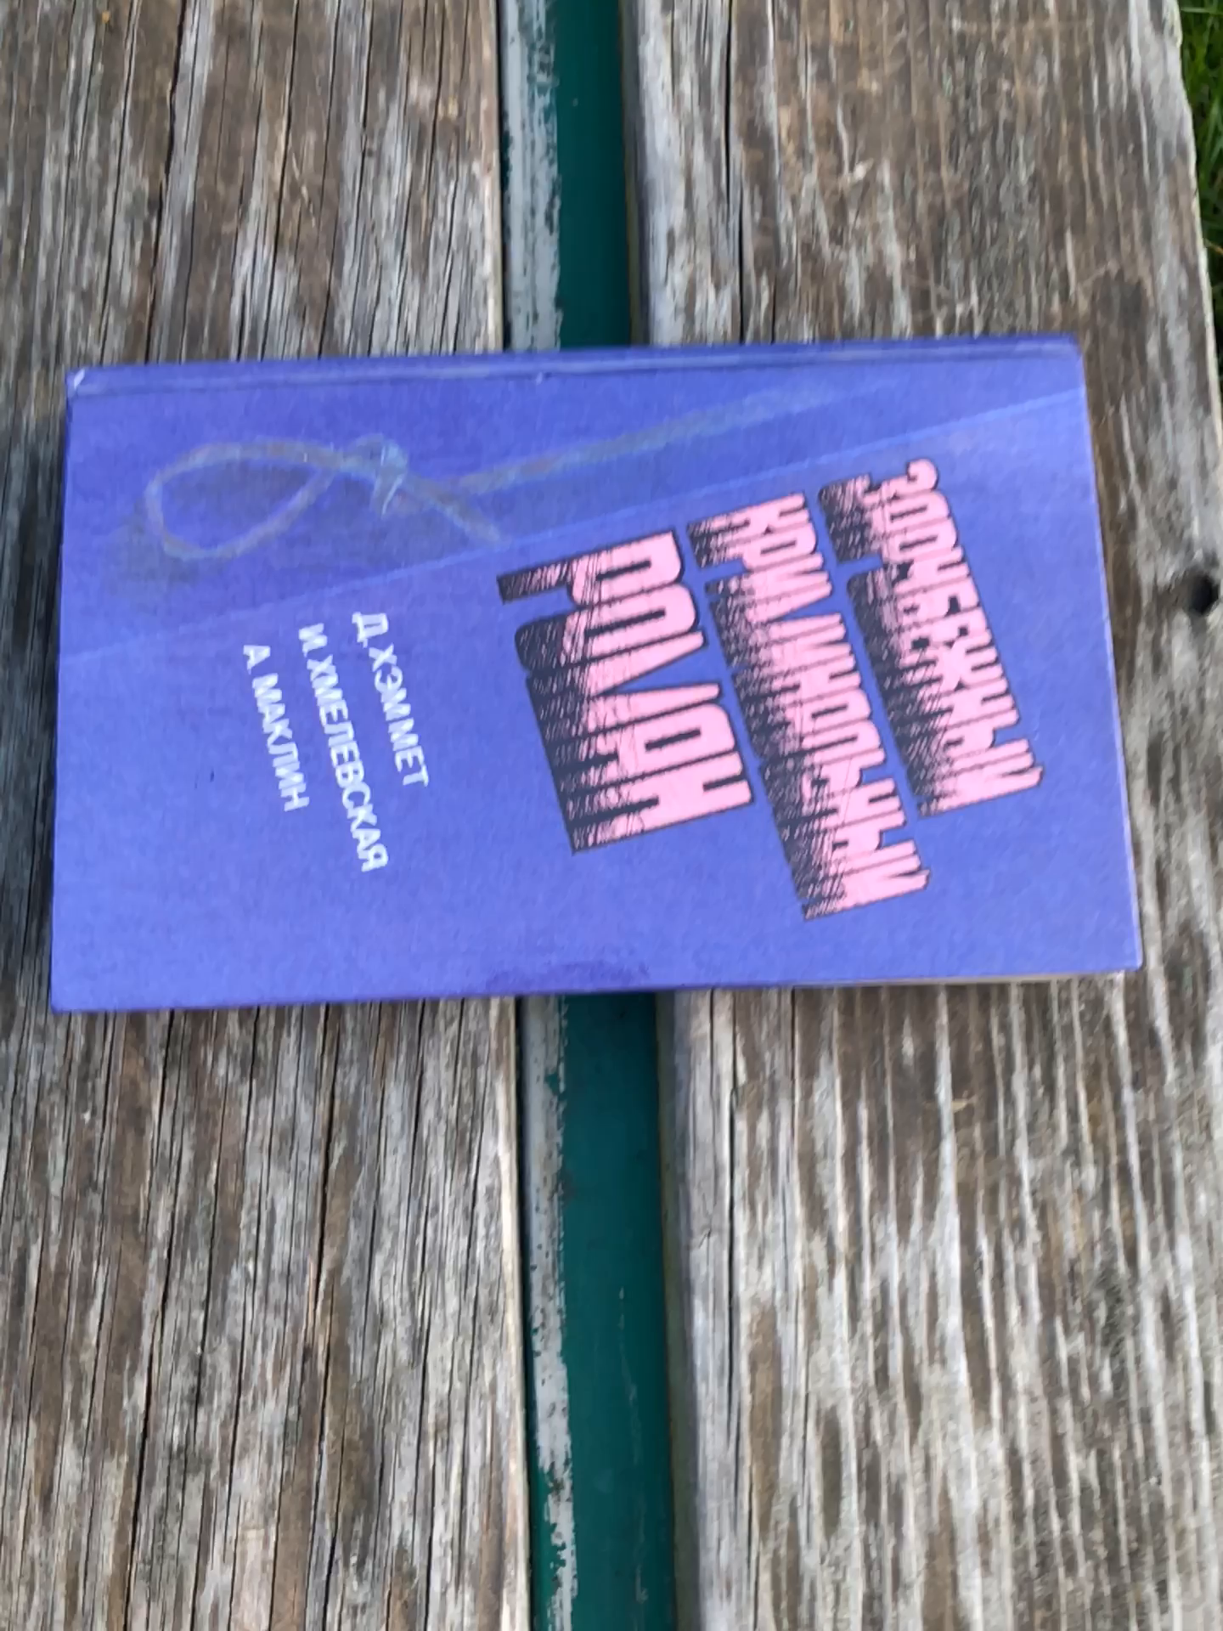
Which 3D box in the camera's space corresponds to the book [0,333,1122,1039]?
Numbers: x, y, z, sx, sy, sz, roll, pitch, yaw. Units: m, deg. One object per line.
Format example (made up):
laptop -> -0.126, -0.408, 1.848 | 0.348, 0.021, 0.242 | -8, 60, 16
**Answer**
book -> -0.012, -0.025, 0.271 | 0.204, 0.030, 0.130 | -2, 80, 0
